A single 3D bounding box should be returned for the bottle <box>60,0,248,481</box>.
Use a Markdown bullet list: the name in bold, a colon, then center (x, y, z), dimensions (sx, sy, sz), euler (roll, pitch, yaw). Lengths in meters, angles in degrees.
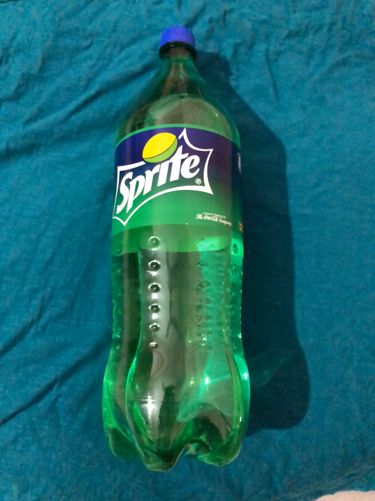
- **bottle**: center (-0.017, -0.027, 0.302), dimensions (0.110, 0.070, 0.330), euler (-1, 80, 7)
